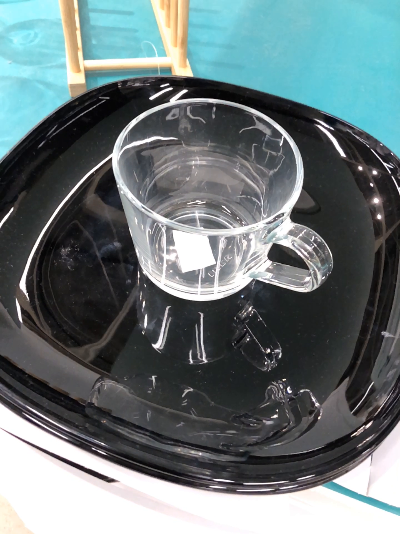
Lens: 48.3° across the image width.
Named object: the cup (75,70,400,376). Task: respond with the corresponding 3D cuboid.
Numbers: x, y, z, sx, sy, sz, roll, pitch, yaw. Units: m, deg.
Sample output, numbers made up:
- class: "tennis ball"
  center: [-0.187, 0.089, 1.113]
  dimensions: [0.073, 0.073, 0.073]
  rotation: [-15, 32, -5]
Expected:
- class: "cup"
  center: [0.023, -0.034, 0.276]
  dimensions: [0.140, 0.080, 0.120]
  rotation: [32, 57, 17]
